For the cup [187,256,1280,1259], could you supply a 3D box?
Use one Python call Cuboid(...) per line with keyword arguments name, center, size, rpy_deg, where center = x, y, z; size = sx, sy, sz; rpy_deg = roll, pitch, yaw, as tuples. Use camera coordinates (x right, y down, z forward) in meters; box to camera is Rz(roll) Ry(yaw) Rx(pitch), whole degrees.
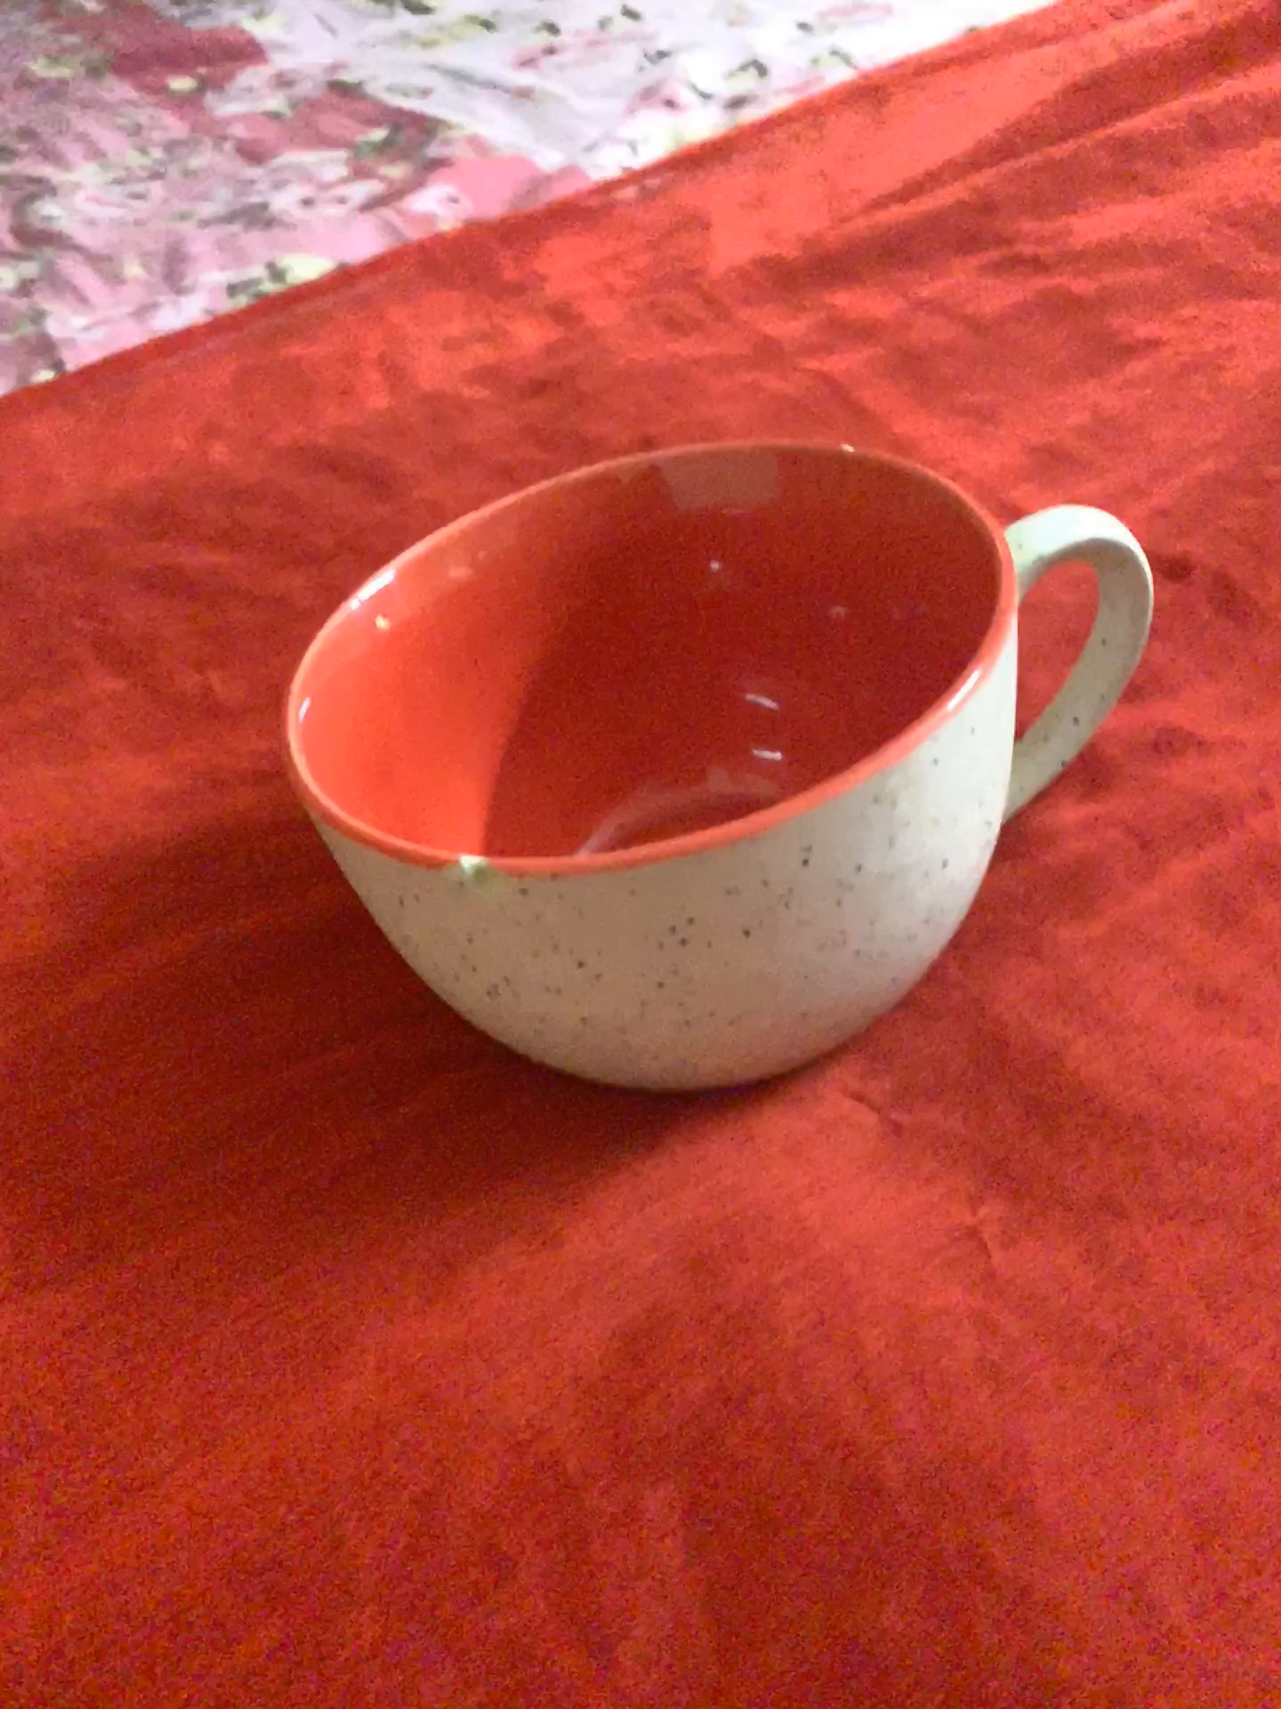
Cuboid(name="cup", center=(0.008, -0.029, 0.227), size=(0.140, 0.069, 0.131), rpy_deg=(-7, 42, 6))
